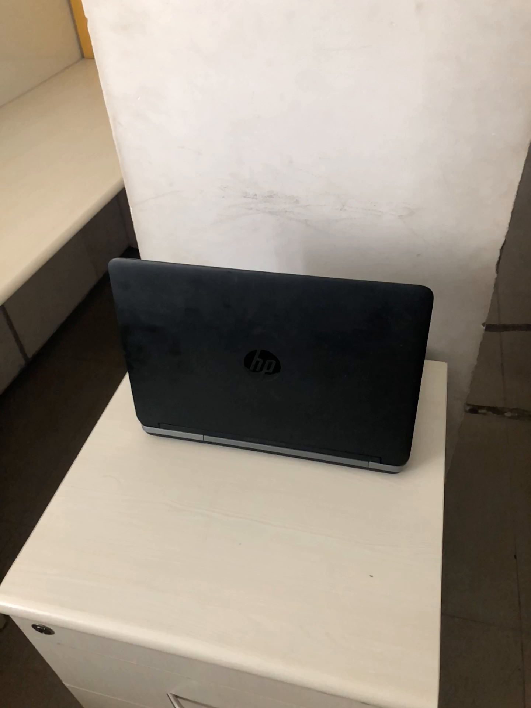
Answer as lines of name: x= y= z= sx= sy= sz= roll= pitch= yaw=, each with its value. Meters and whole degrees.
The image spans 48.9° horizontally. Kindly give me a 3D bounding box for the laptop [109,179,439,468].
laptop: x=0.026 y=-0.043 z=0.707 sx=0.317 sy=0.226 sz=0.205 roll=7 pitch=45 yaw=12
